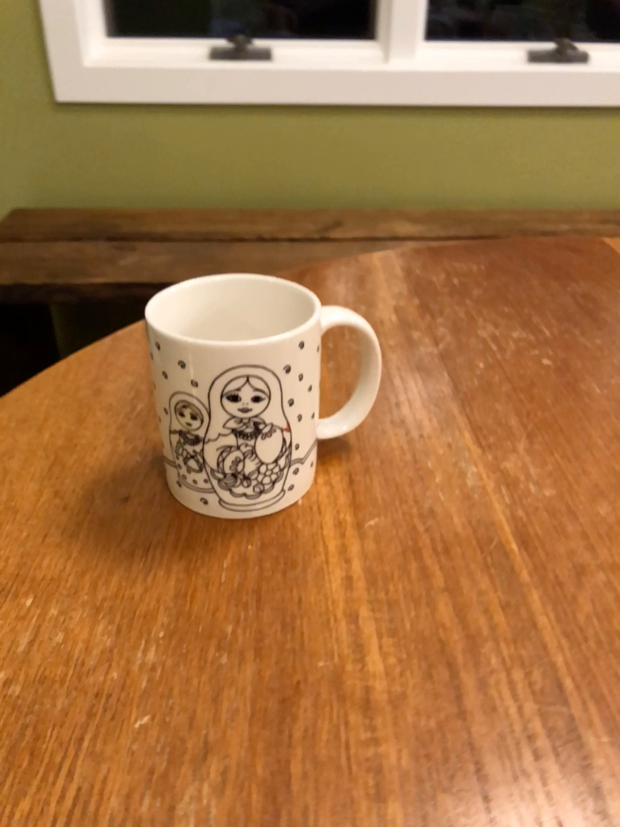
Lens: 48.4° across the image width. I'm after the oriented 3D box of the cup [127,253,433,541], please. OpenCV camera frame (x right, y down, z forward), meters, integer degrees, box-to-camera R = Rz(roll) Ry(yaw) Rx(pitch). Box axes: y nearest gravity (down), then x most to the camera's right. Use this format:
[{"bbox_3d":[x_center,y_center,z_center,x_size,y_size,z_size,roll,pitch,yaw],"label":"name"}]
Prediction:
[{"bbox_3d":[-0.018,-0.014,0.357,0.126,0.099,0.088,-10,34,-17],"label":"cup"}]
